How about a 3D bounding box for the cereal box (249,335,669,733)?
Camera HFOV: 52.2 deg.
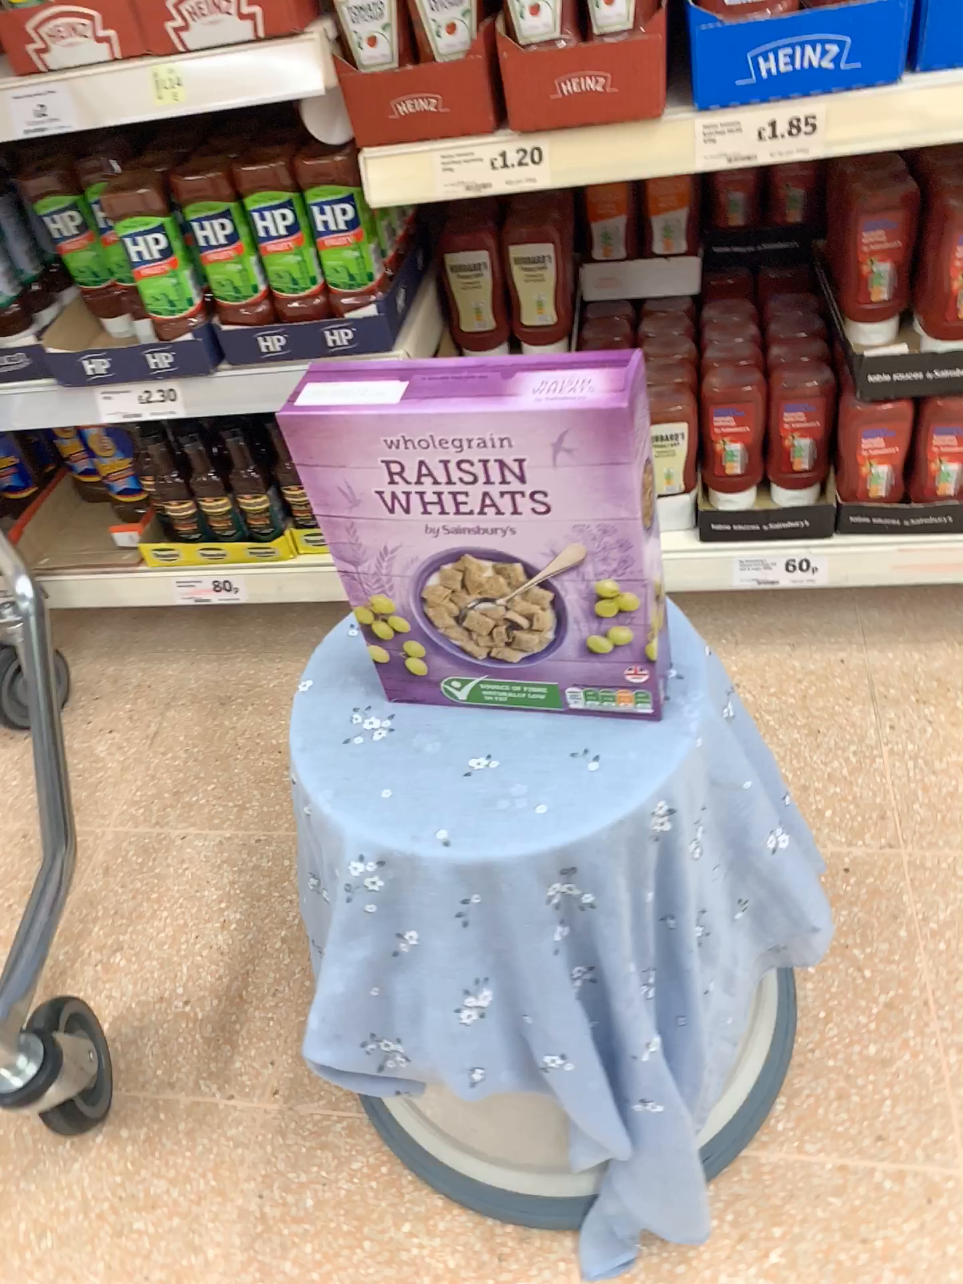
[{"bbox_3d":[0.002,-0.054,0.584,0.200,0.238,0.061,3,46,17],"label":"cereal box"}]
